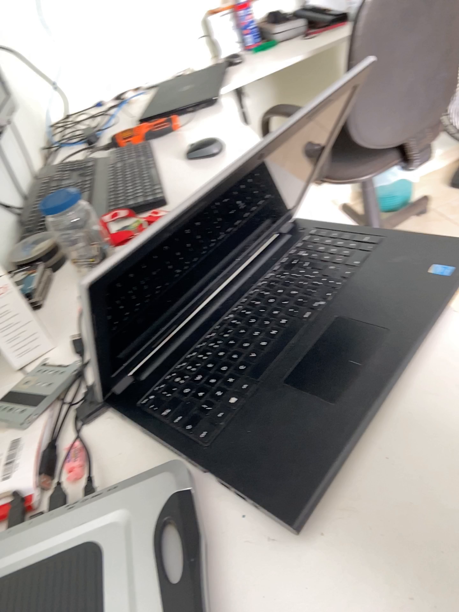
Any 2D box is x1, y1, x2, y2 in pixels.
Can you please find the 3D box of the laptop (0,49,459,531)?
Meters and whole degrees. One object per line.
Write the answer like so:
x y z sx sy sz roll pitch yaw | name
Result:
0.040 -0.059 0.457 0.257 0.204 0.375 17 50 41 | laptop
